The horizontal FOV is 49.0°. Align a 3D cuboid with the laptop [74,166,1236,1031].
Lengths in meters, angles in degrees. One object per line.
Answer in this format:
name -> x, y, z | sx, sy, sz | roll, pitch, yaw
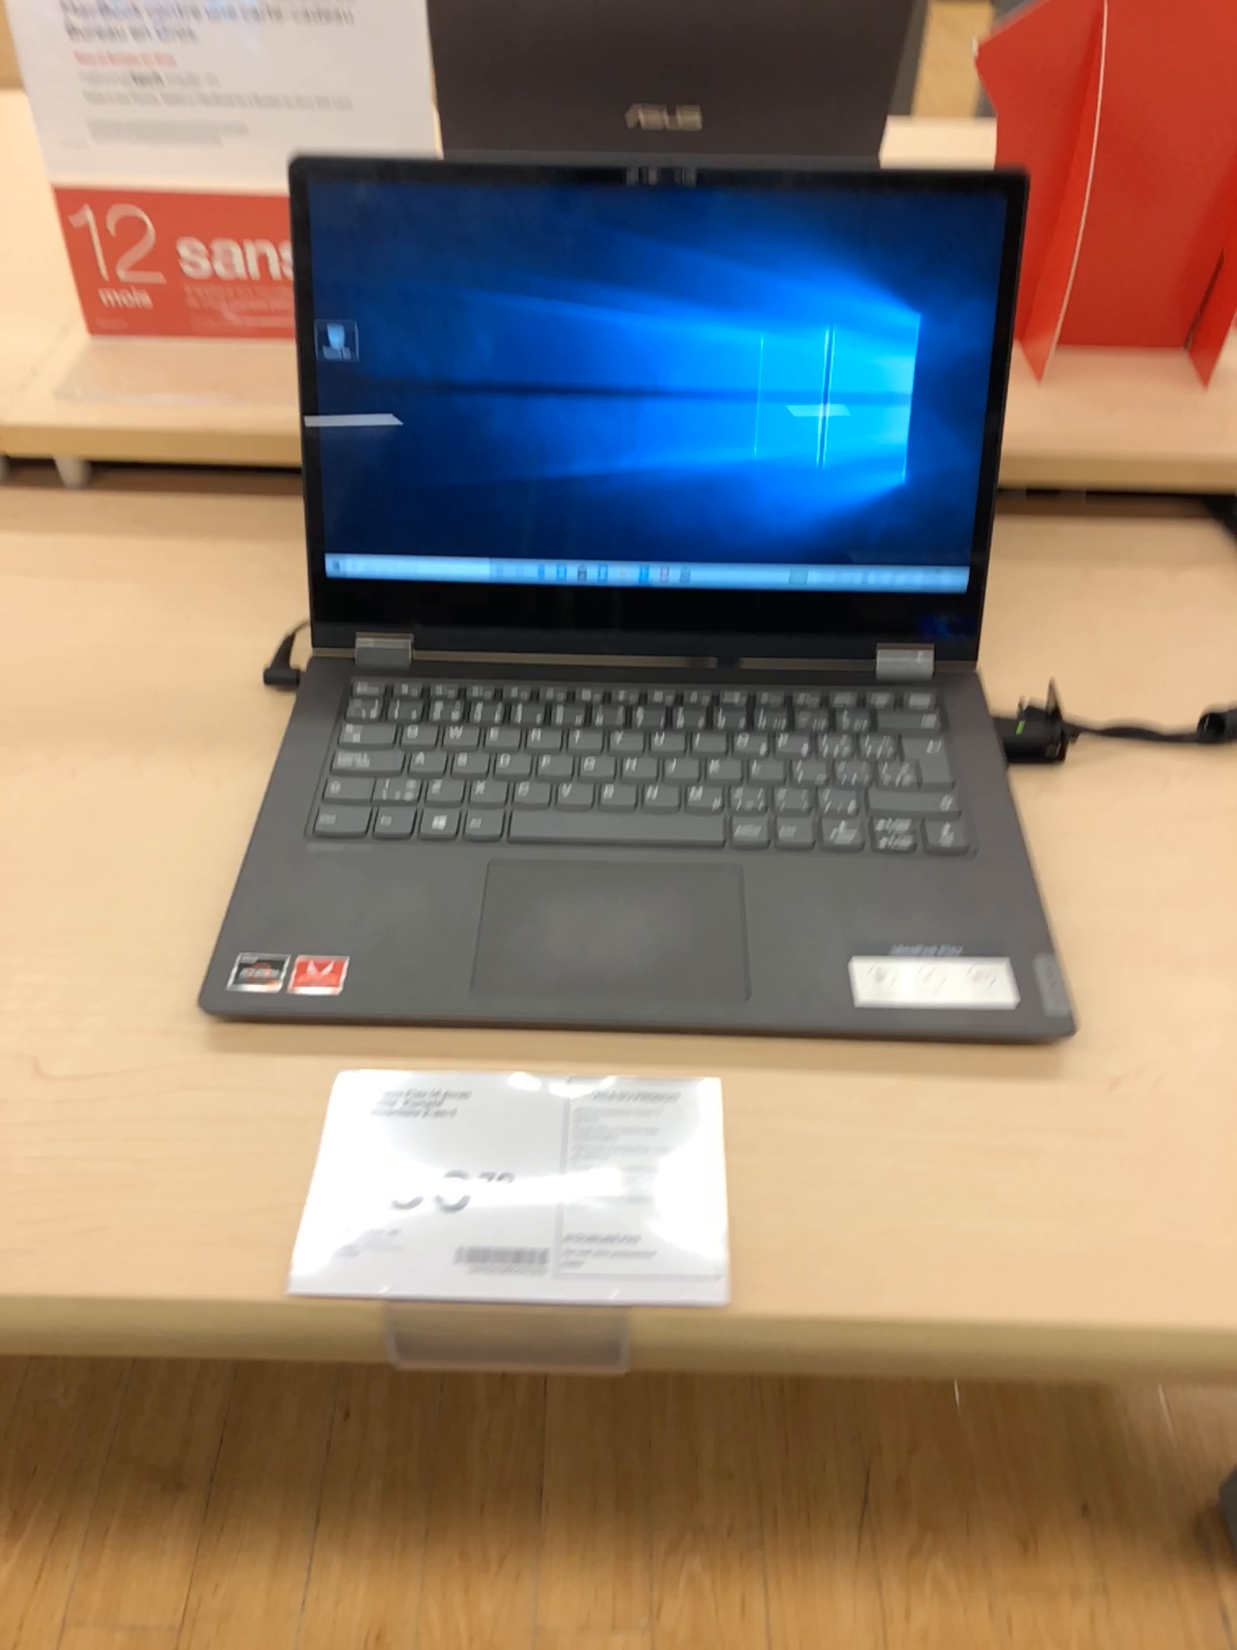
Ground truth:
laptop -> 0.014, -0.105, 0.546 | 0.319, 0.198, 0.307 | 2, 43, 0
